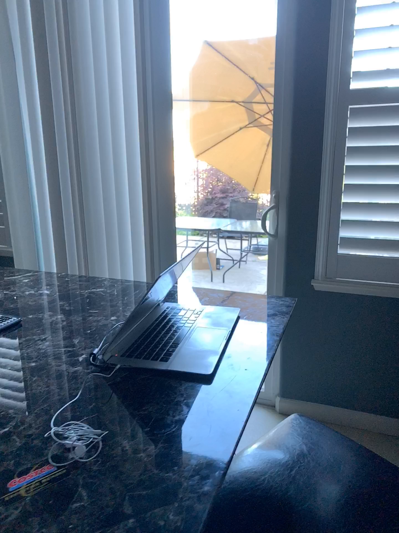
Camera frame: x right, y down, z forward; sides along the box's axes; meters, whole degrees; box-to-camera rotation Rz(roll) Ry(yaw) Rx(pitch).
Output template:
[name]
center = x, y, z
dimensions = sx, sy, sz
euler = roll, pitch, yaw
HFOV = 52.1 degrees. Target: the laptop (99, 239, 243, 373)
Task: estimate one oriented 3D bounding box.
[laptop]
center = -0.041, 0.066, 0.983
dimensions = 0.233, 0.188, 0.363
euler = 4, 15, 14
